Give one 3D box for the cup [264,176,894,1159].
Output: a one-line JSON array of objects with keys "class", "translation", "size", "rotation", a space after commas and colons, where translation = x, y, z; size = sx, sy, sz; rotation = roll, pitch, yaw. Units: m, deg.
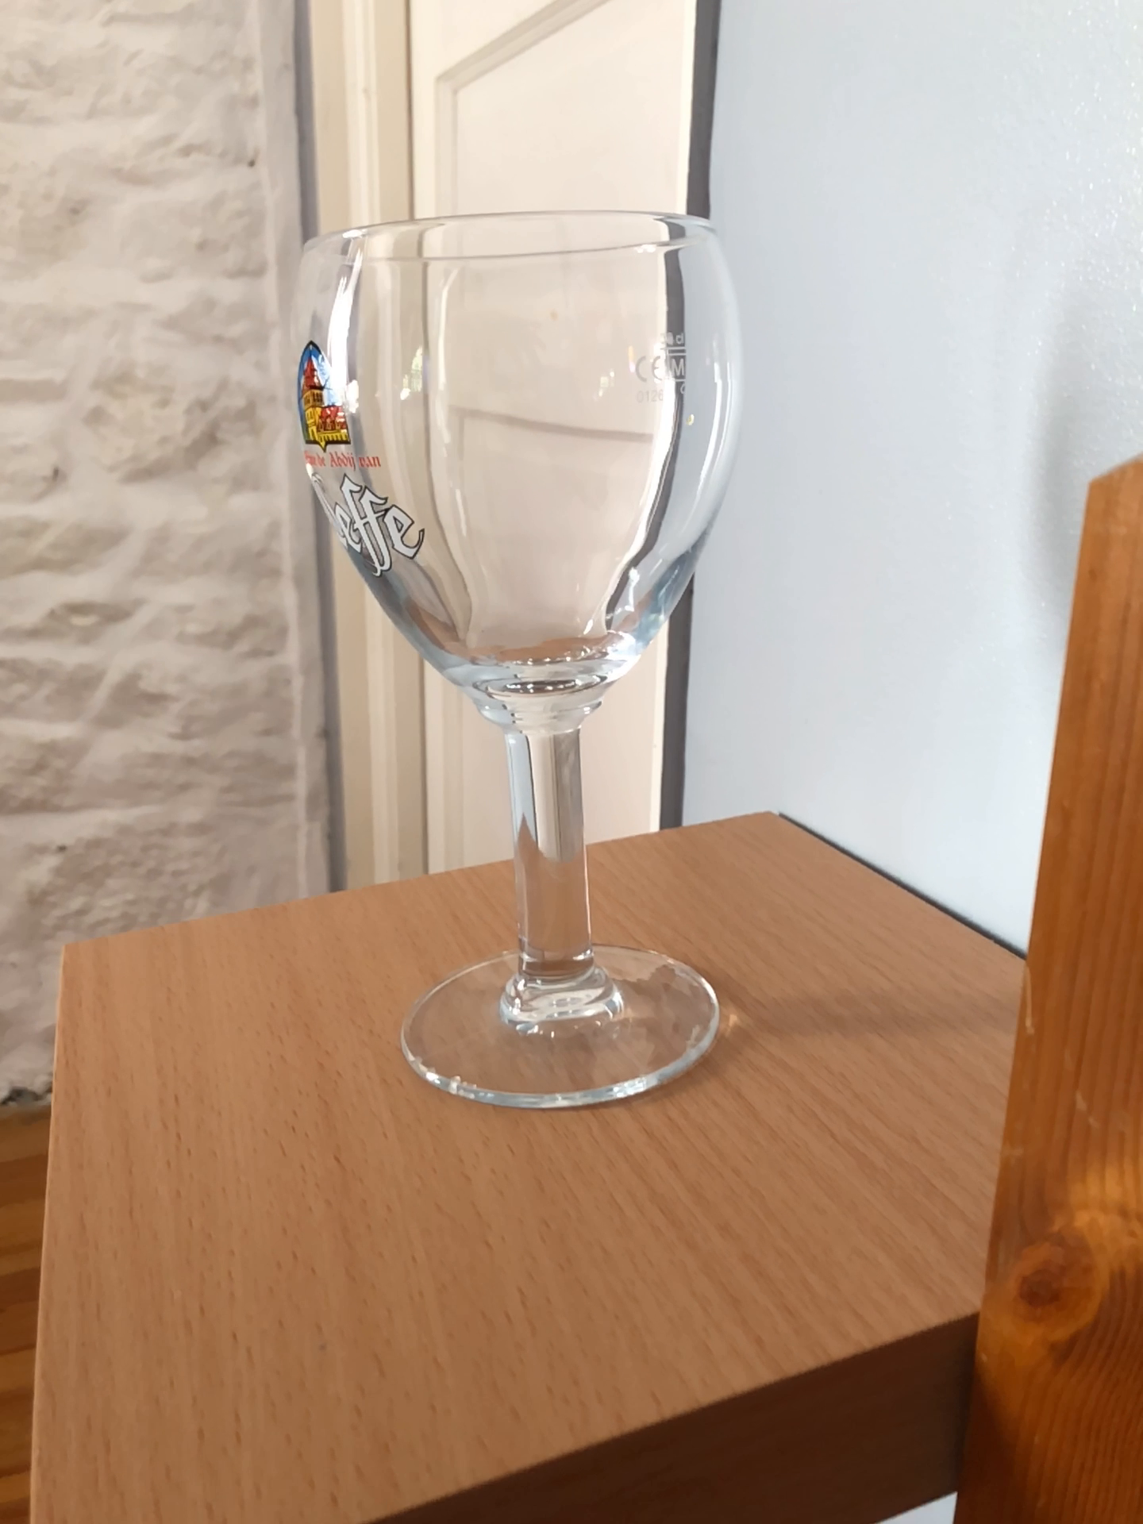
[{"class": "cup", "translation": [-0.003, -0.027, 0.298], "size": [0.100, 0.185, 0.095], "rotation": [1, 16, 0]}]
